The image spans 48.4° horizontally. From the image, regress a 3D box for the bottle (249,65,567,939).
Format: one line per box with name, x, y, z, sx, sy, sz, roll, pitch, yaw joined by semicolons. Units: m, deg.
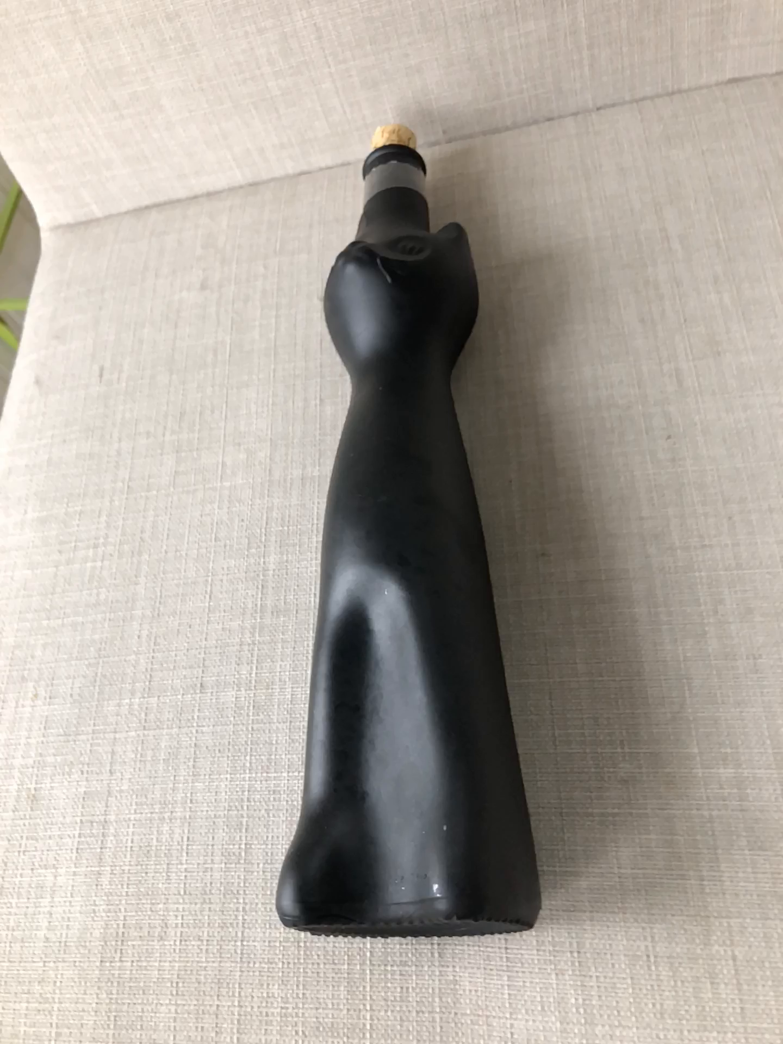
bottle;0.004;-0.021;0.322;0.077;0.080;0.312;-8;64;11
